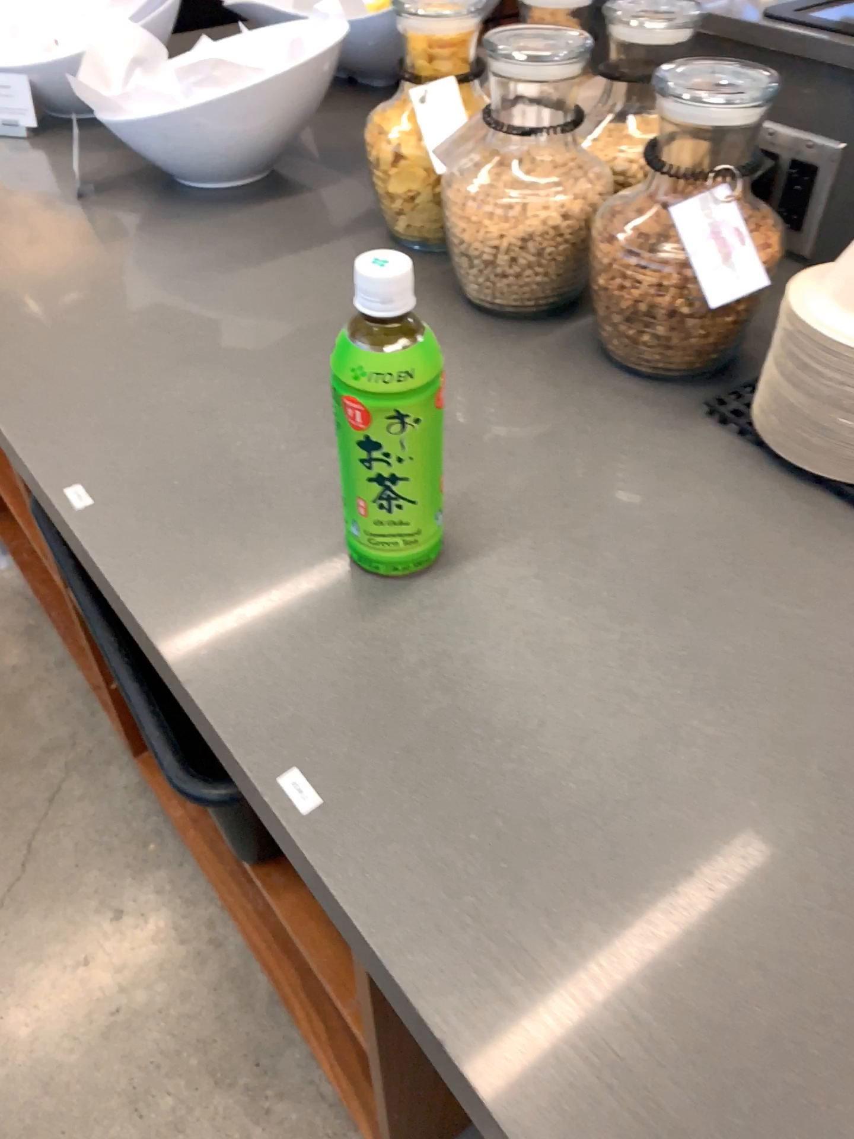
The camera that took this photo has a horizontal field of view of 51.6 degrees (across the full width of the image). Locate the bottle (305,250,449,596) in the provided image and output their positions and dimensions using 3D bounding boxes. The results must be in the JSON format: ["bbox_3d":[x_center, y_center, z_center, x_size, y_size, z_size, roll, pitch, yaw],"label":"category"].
[{"bbox_3d":[-0.023,-0.079,0.530,0.070,0.199,0.070,0,44,0],"label":"bottle"}]
